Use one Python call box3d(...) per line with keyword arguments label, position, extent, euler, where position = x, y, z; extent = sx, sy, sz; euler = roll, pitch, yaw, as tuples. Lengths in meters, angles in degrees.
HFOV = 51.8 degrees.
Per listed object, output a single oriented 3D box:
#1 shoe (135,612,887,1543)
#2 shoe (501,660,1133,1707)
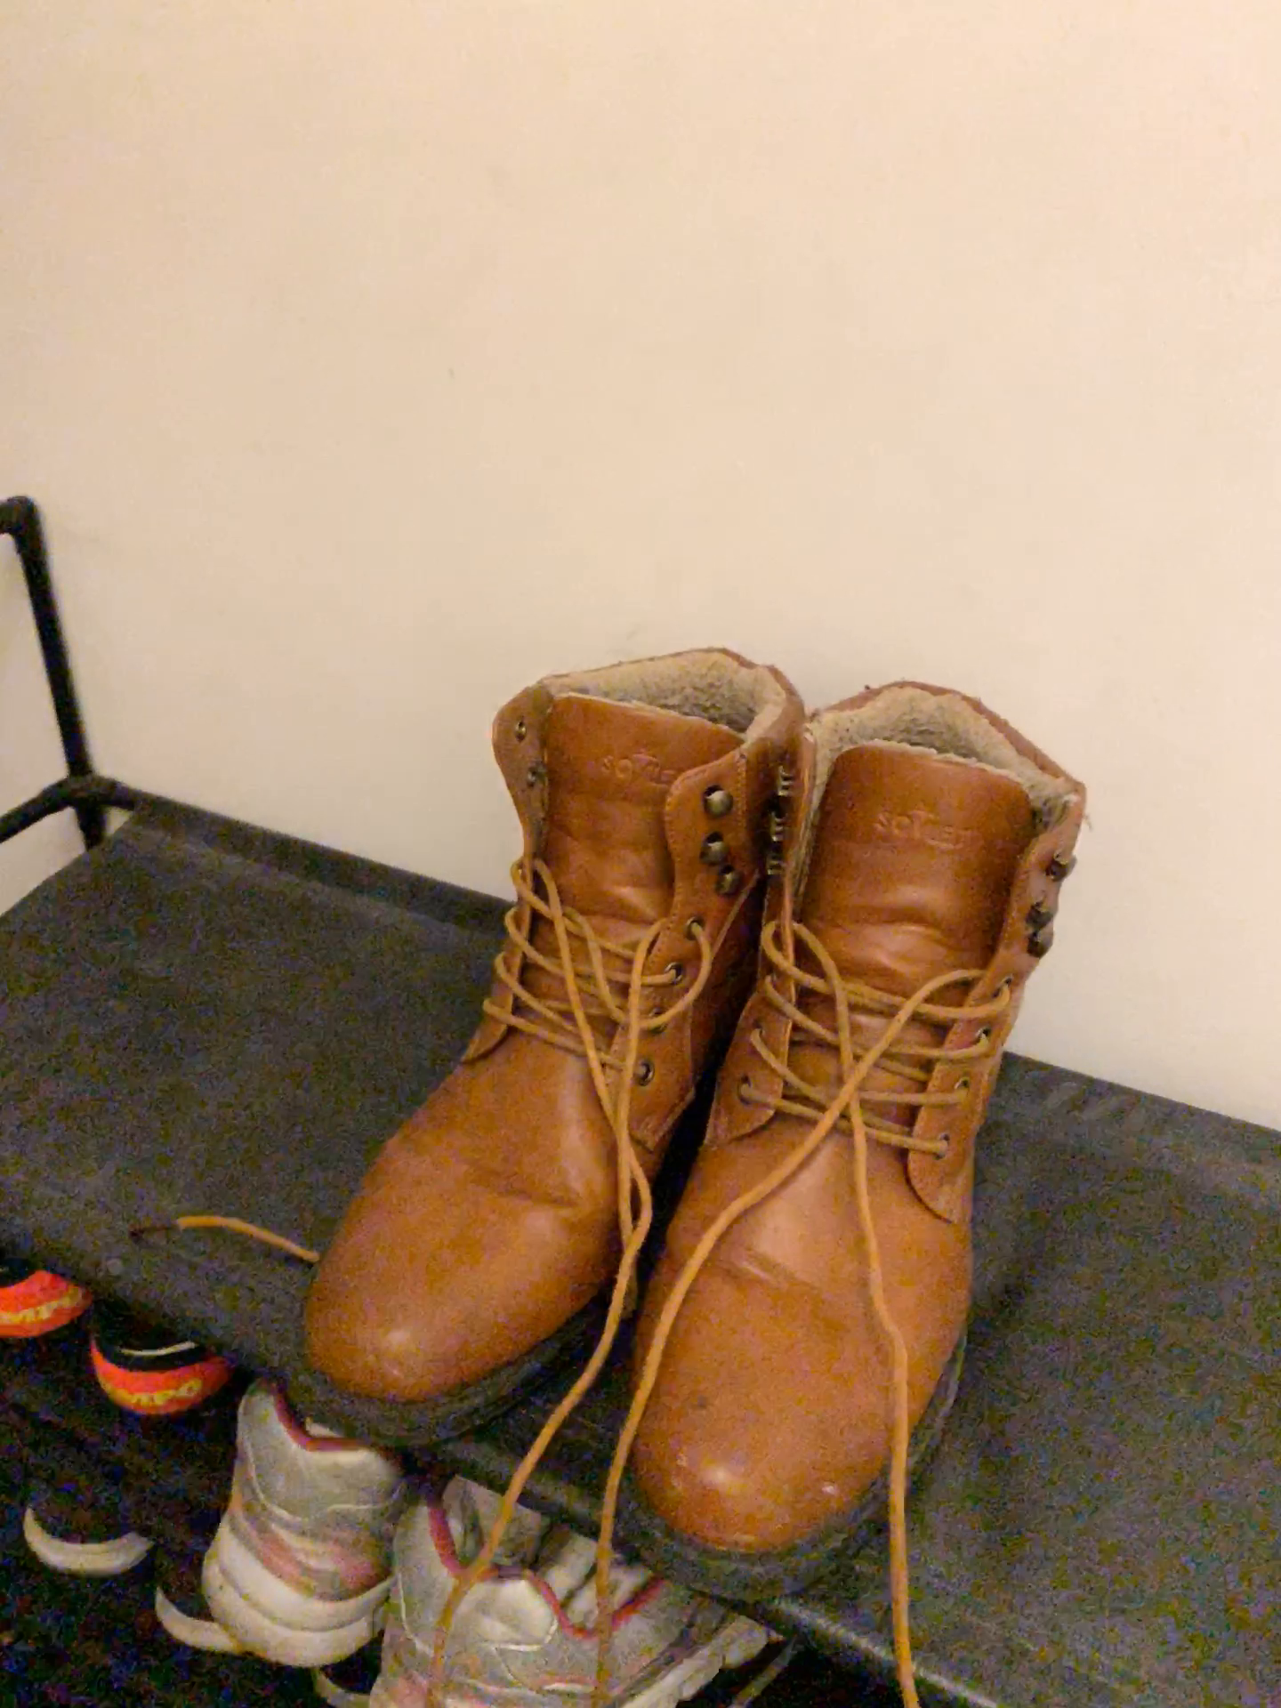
box3d(label="shoe", position=(-0.023, 0.058, 0.491), extent=(0.110, 0.198, 0.272), euler=(18, 36, 26))
box3d(label="shoe", position=(0.067, 0.083, 0.426), extent=(0.110, 0.198, 0.242), euler=(14, 34, 20))
